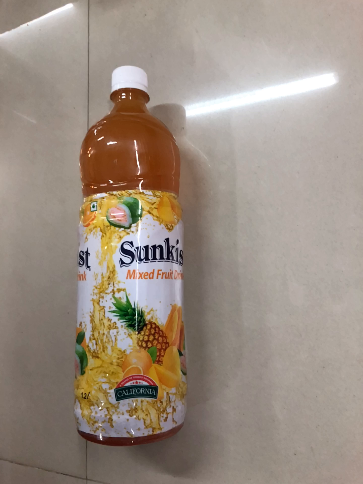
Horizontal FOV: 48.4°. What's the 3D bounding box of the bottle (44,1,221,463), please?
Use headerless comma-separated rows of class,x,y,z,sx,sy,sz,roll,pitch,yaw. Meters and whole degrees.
bottle,-0.032,-0.010,0.309,0.100,0.080,0.290,-3,83,25
